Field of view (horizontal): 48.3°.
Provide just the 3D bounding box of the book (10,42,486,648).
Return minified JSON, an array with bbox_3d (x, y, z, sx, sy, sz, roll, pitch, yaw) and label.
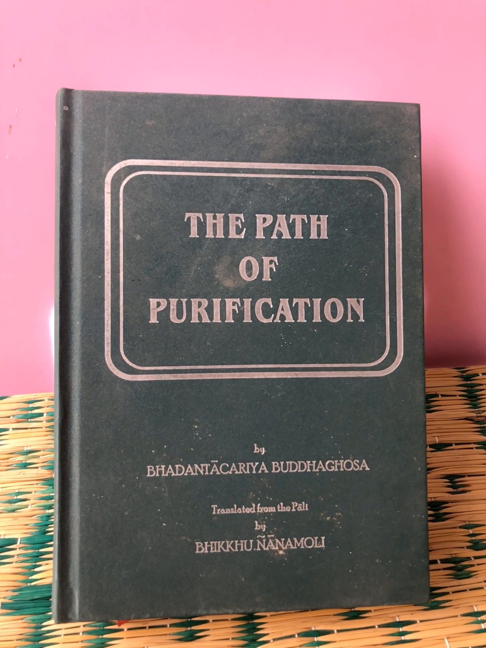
[{"bbox_3d":[0.002,0.004,0.231,0.160,0.080,0.210,0,82,-3],"label":"book"}]
